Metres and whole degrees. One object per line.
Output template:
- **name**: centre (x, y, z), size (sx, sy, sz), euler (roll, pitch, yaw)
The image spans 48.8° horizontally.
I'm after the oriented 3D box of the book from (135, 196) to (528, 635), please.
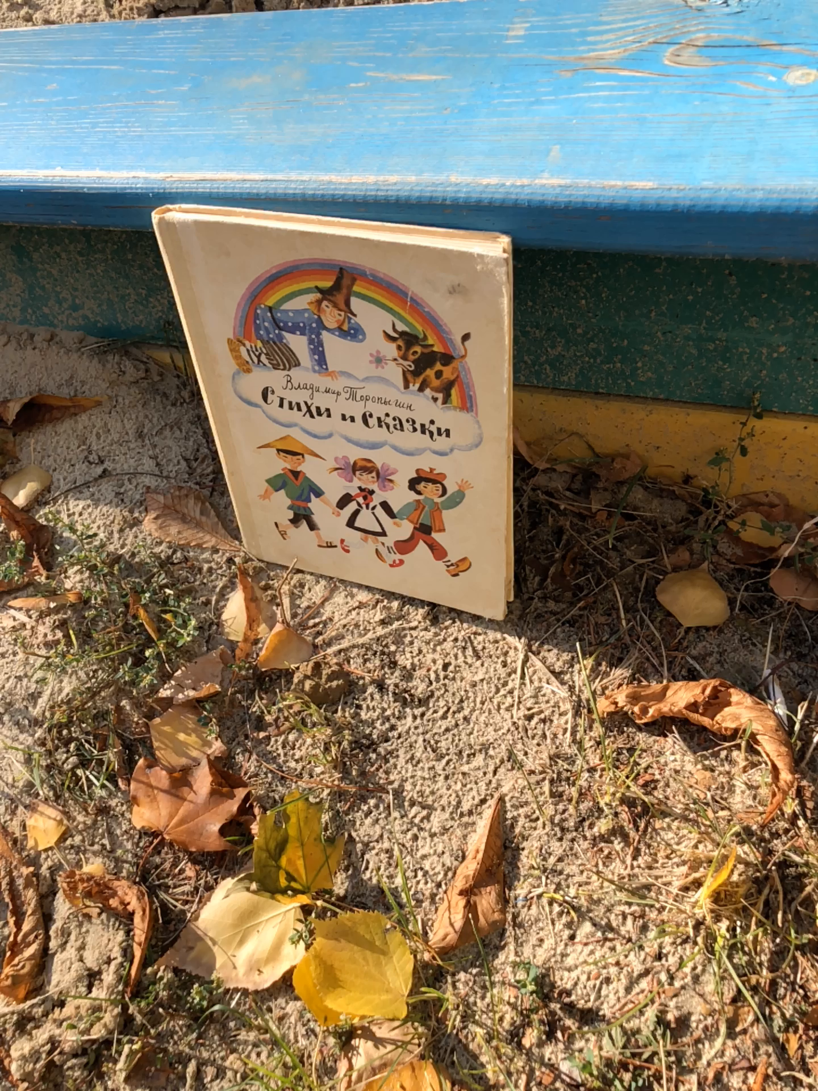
- **book**: centre (-0.029, -0.058, 0.454), size (0.178, 0.213, 0.024), euler (14, 46, 21)
